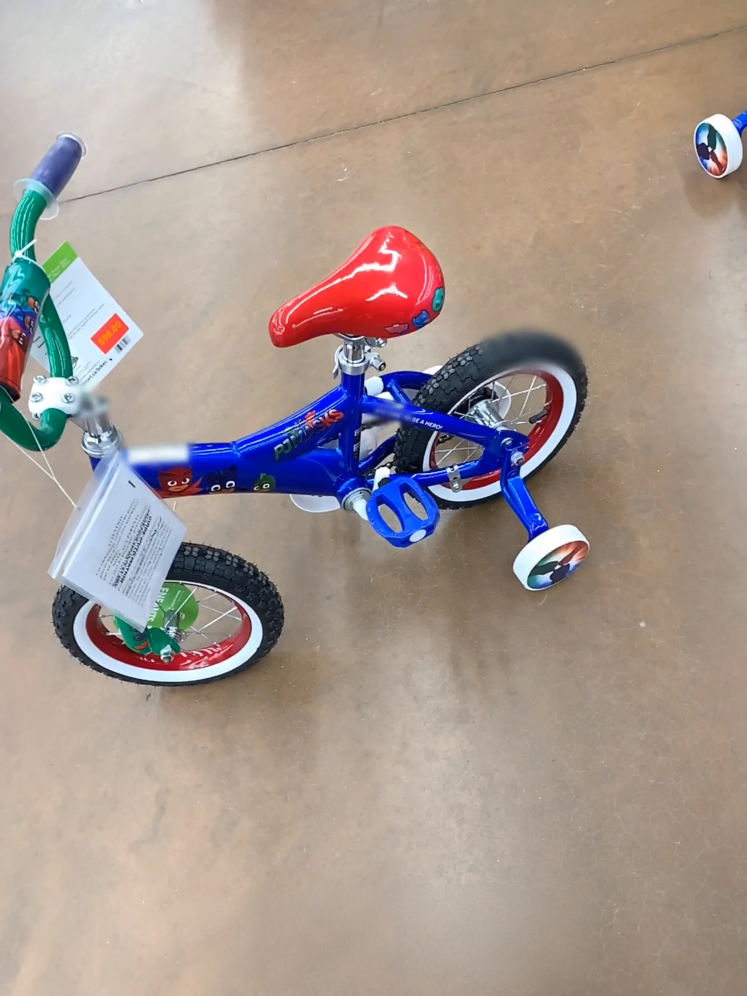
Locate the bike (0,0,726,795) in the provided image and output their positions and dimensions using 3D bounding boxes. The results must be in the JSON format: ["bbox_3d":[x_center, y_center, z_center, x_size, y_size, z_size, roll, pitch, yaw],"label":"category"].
[{"bbox_3d":[-0.125,-0.108,0.905,0.774,0.670,0.461,-28,55,-3],"label":"bike"}]
